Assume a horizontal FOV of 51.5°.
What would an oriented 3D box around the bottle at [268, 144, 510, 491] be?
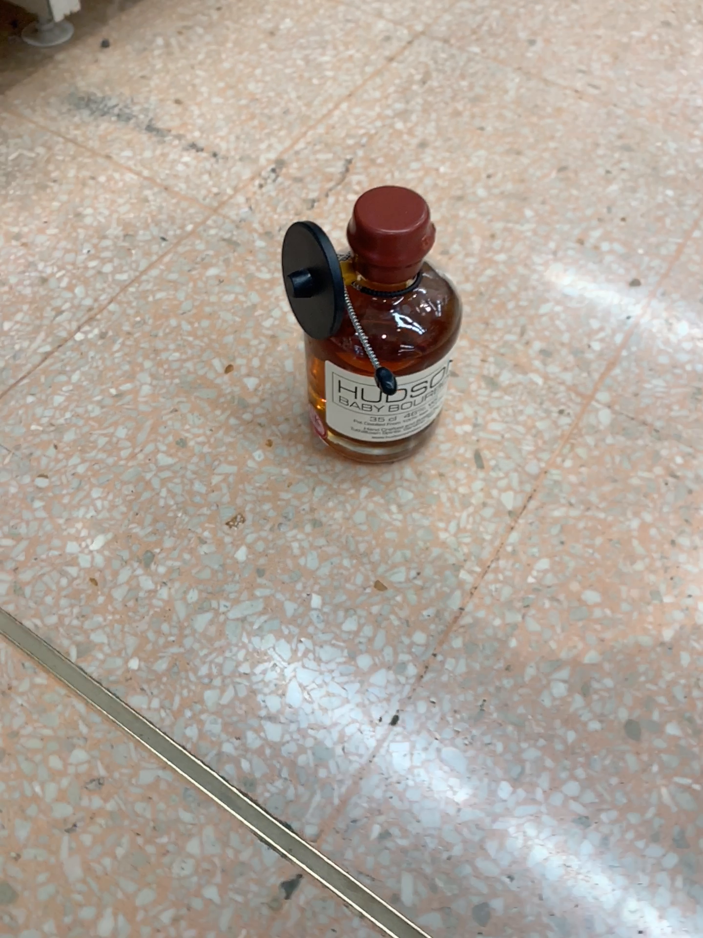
[{"bbox_3d":[0.012,-0.067,0.359,0.075,0.142,0.073,1,58,-1],"label":"bottle"}]
